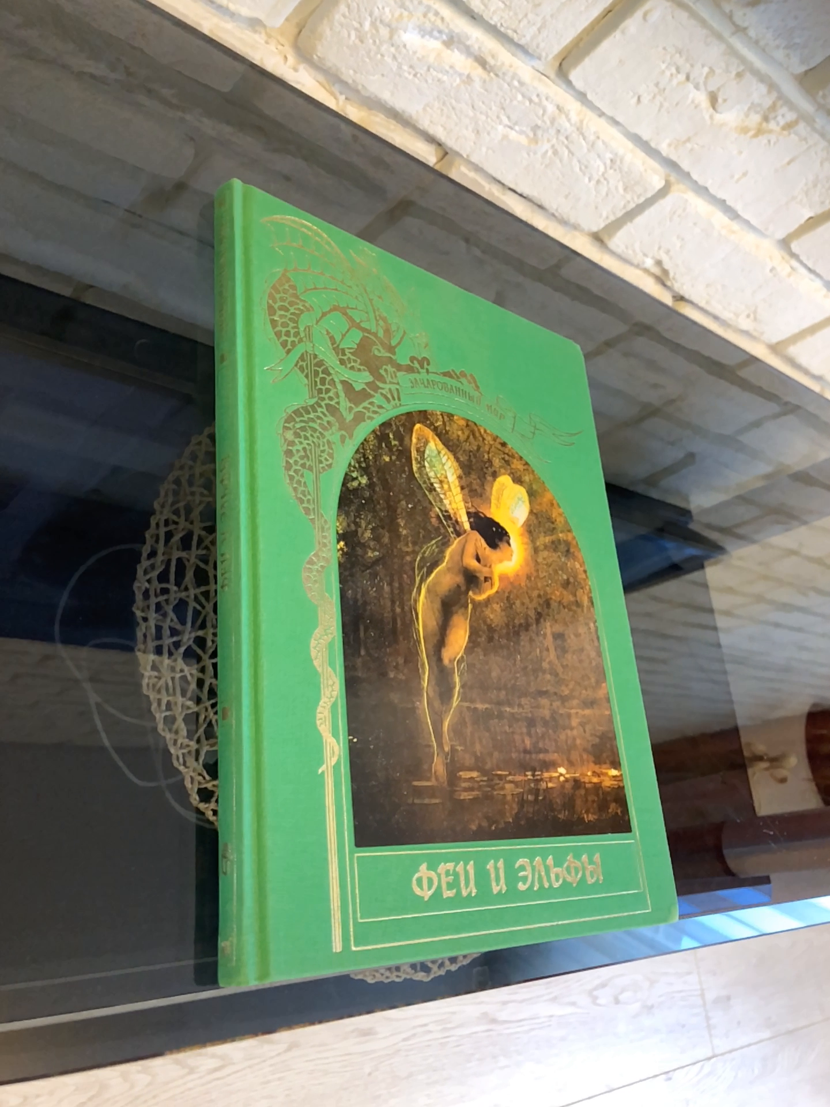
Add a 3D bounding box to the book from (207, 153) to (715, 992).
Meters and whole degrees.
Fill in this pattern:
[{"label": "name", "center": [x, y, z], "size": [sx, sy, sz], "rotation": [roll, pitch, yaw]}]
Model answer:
[{"label": "book", "center": [0.020, 0.005, 0.374], "size": [0.217, 0.030, 0.291], "rotation": [13, 61, -39]}]
